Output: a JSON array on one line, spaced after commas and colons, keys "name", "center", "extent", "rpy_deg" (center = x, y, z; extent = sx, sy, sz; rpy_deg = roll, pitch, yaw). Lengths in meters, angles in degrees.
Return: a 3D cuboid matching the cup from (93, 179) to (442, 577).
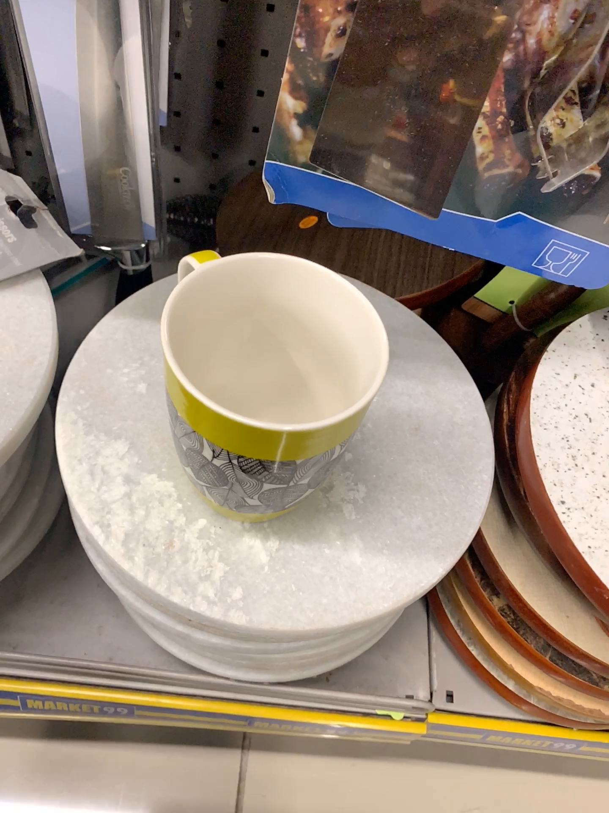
[{"name": "cup", "center": [-0.022, -0.012, 0.252], "extent": [0.080, 0.090, 0.110], "rpy_deg": [-20, 63, -22]}]
